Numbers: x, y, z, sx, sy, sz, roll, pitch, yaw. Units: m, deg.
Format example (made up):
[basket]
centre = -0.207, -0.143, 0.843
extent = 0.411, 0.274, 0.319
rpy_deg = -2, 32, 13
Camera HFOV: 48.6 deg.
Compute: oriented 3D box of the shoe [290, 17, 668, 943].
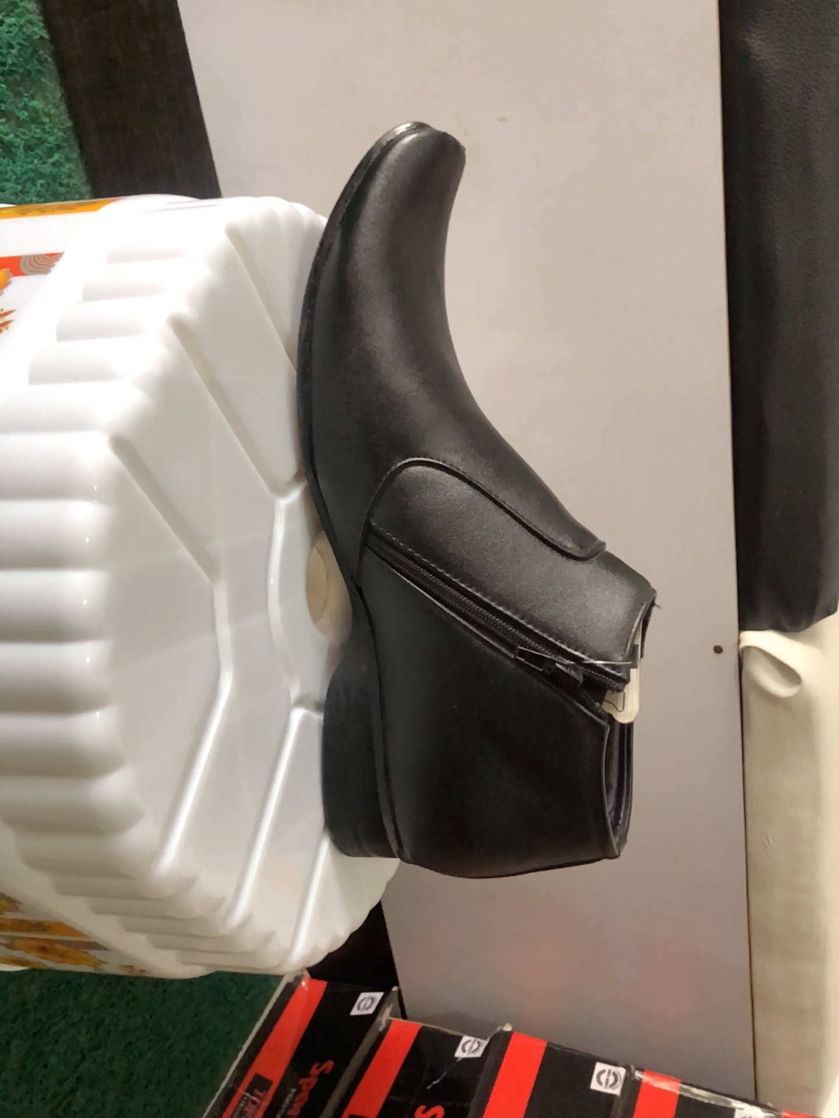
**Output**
[shoe]
centre = 0.031, -0.026, 0.386
extent = 0.121, 0.119, 0.310
rpy_deg = 6, 82, -69
